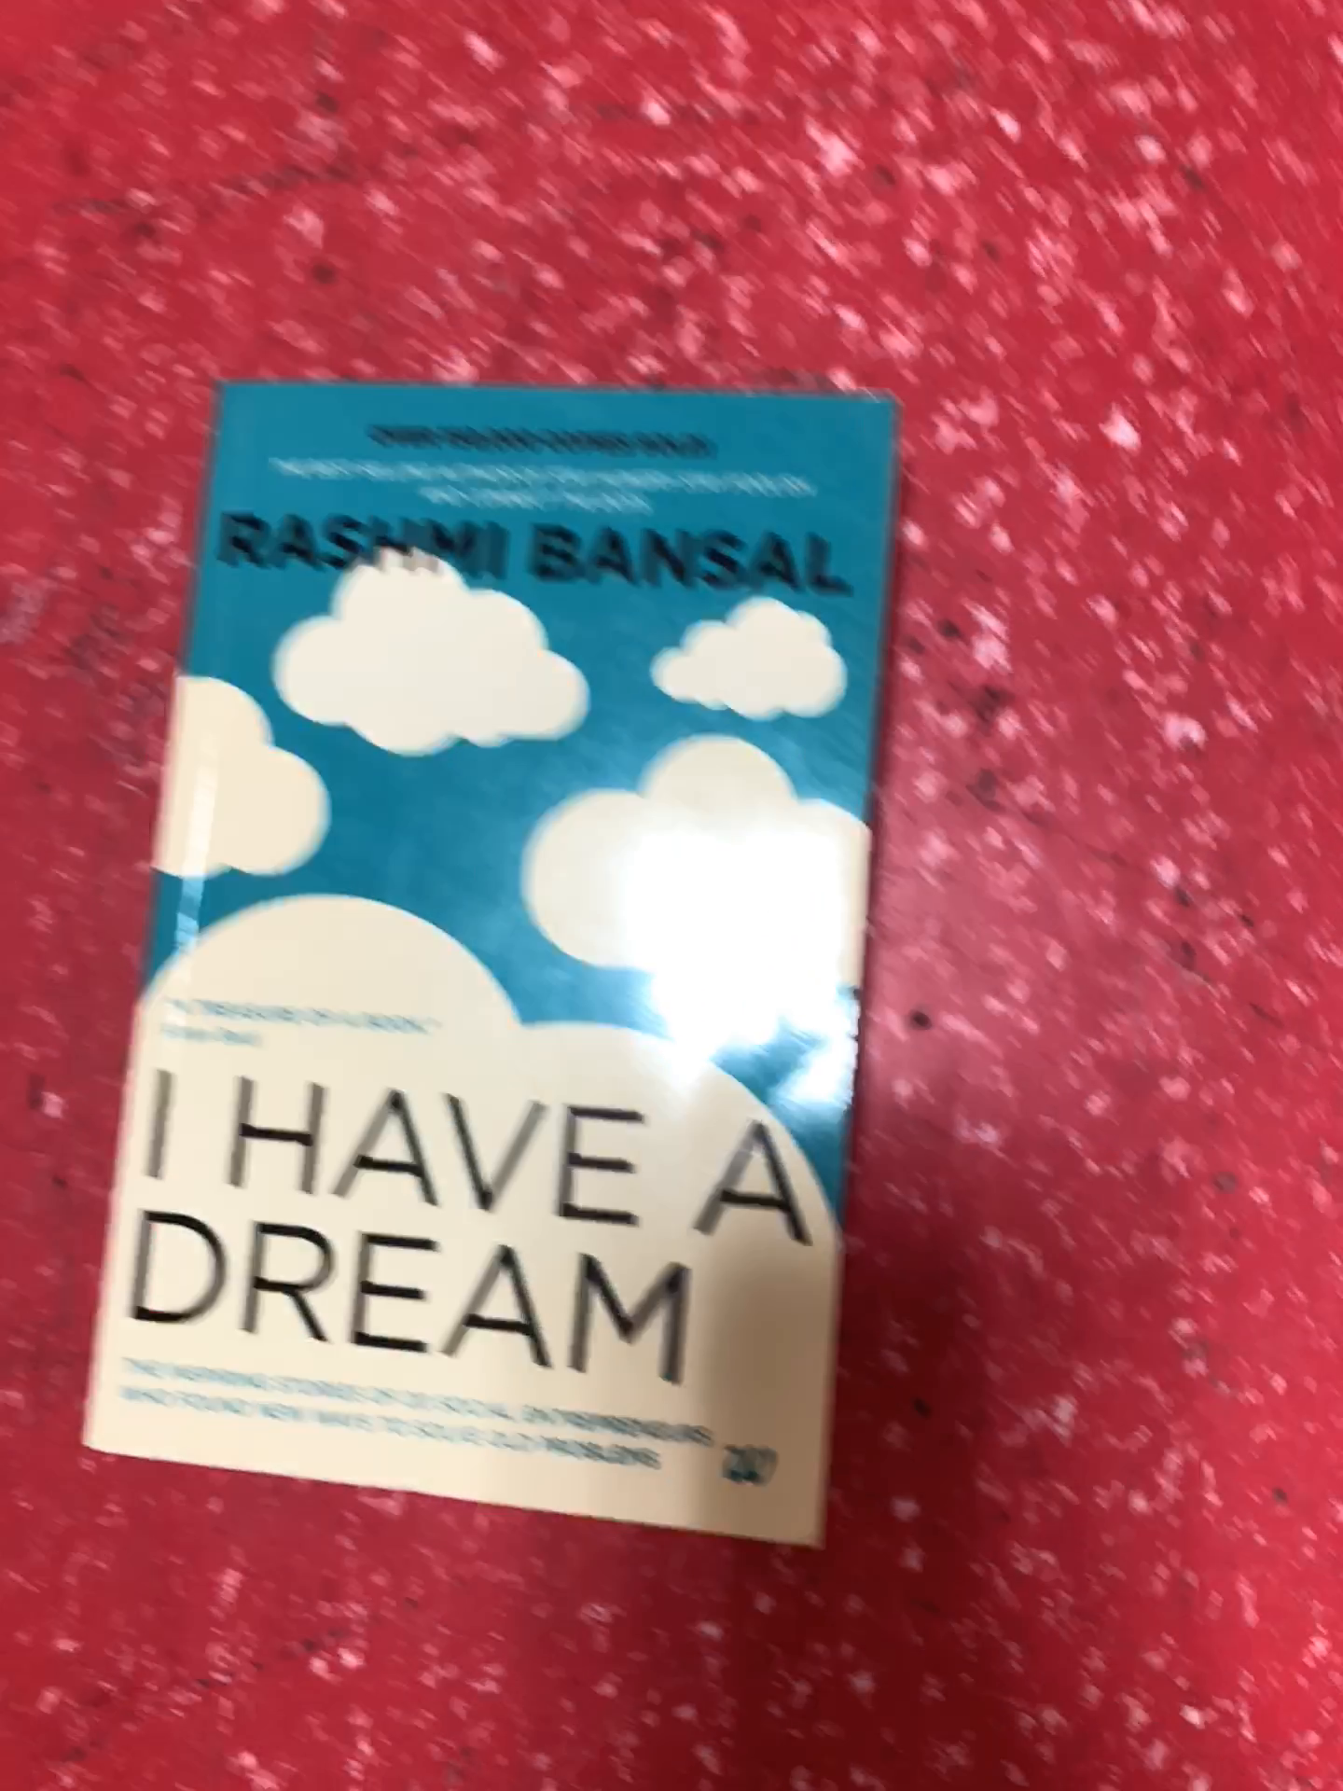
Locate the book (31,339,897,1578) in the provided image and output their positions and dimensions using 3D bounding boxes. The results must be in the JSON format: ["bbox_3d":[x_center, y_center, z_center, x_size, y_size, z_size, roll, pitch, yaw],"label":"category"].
[{"bbox_3d":[-0.032,0.004,0.267,0.130,0.030,0.200,3,83,7],"label":"book"}]
